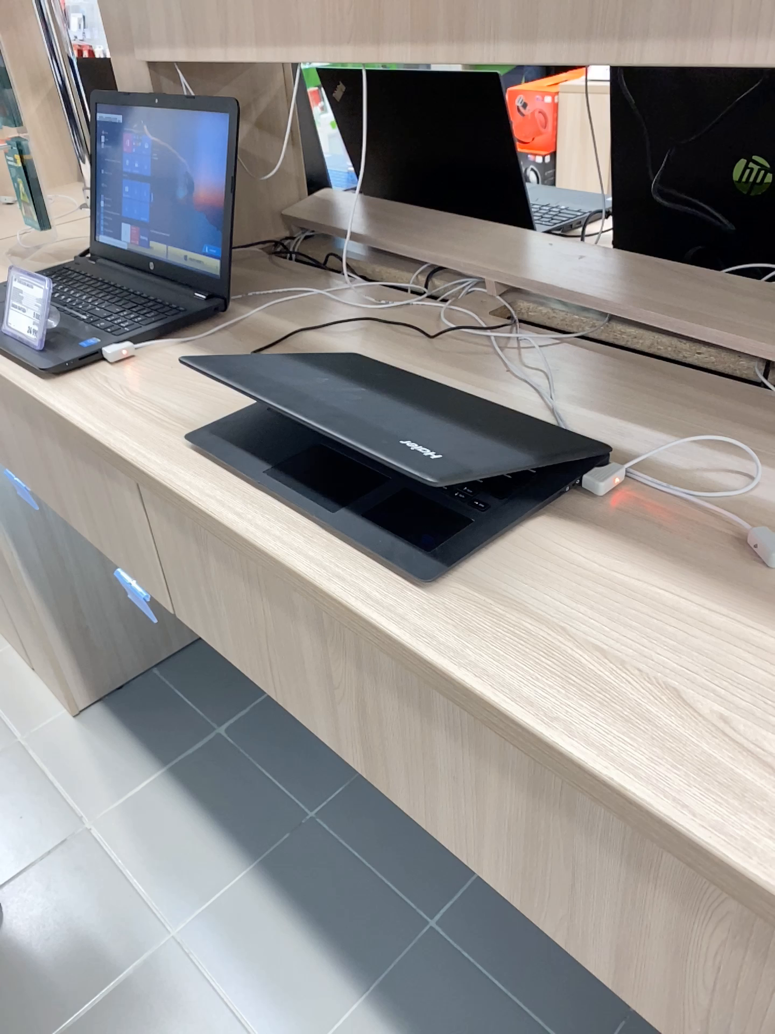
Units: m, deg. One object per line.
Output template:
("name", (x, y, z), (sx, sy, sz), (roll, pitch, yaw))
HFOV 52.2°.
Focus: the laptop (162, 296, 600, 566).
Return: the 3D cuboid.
("laptop", (-0.016, -0.097, 0.679), (0.201, 0.071, 0.320), (-31, 41, -32))
